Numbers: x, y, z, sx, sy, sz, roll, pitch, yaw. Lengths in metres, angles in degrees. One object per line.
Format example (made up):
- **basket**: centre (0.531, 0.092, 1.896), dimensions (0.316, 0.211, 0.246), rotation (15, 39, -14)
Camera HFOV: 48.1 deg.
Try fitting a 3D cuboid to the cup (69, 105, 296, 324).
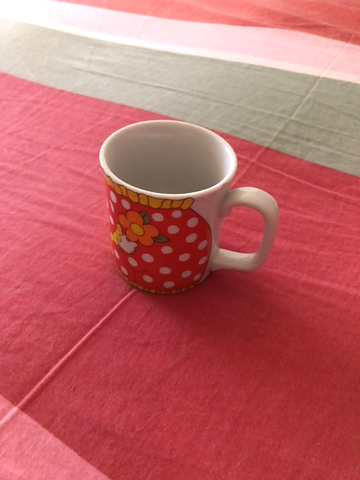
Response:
- **cup**: centre (0.005, -0.020, 0.272), dimensions (0.116, 0.086, 0.089), rotation (14, 47, 9)
